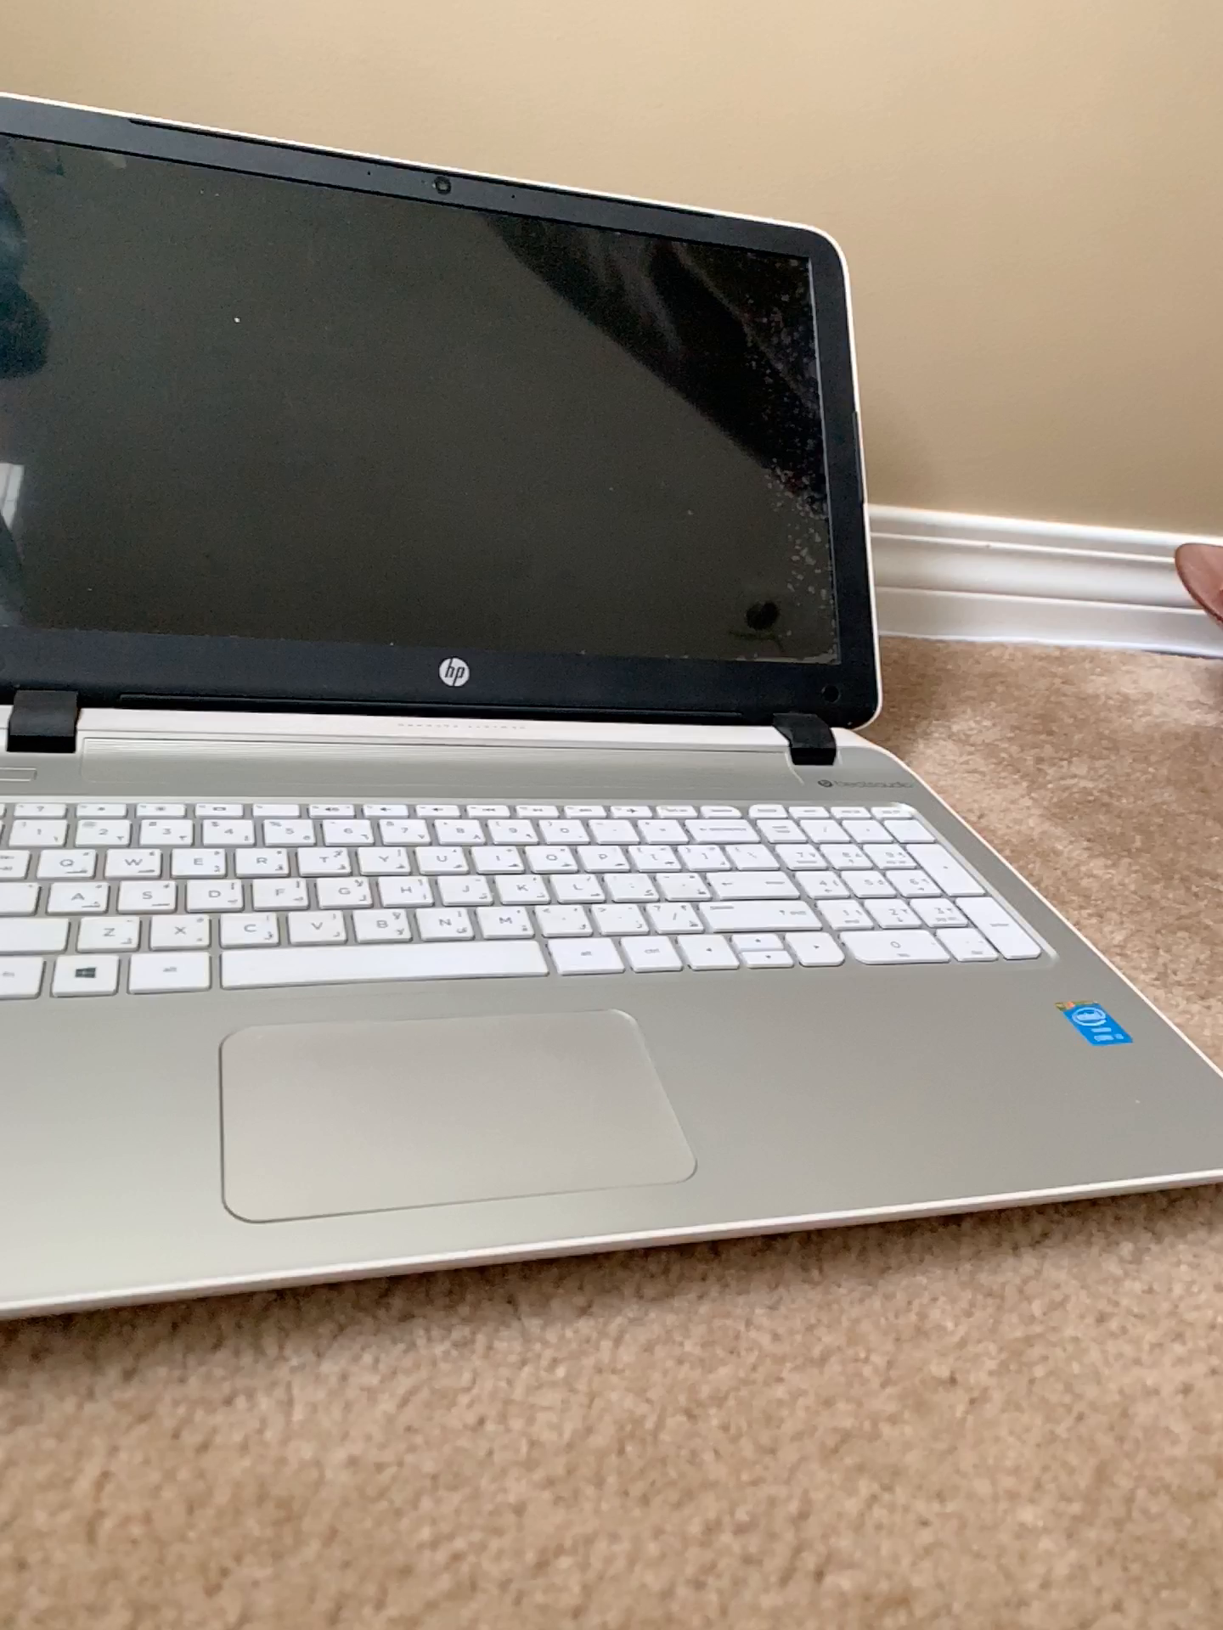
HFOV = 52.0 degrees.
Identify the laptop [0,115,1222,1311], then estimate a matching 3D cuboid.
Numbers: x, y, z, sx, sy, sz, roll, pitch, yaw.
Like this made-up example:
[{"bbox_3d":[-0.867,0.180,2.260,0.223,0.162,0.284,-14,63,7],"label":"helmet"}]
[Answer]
[{"bbox_3d":[-0.027,-0.077,0.386,0.349,0.187,0.351,0,30,-17],"label":"laptop"}]
